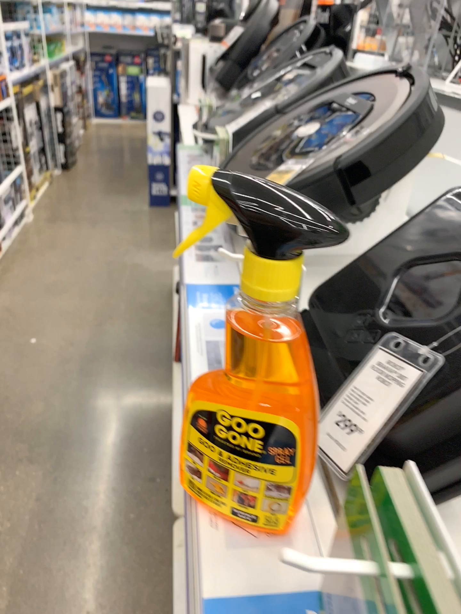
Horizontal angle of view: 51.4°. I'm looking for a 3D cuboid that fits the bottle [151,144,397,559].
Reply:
[{"bbox_3d":[0.013,0.035,0.275,0.100,0.226,0.050,16,33,19],"label":"bottle"}]
